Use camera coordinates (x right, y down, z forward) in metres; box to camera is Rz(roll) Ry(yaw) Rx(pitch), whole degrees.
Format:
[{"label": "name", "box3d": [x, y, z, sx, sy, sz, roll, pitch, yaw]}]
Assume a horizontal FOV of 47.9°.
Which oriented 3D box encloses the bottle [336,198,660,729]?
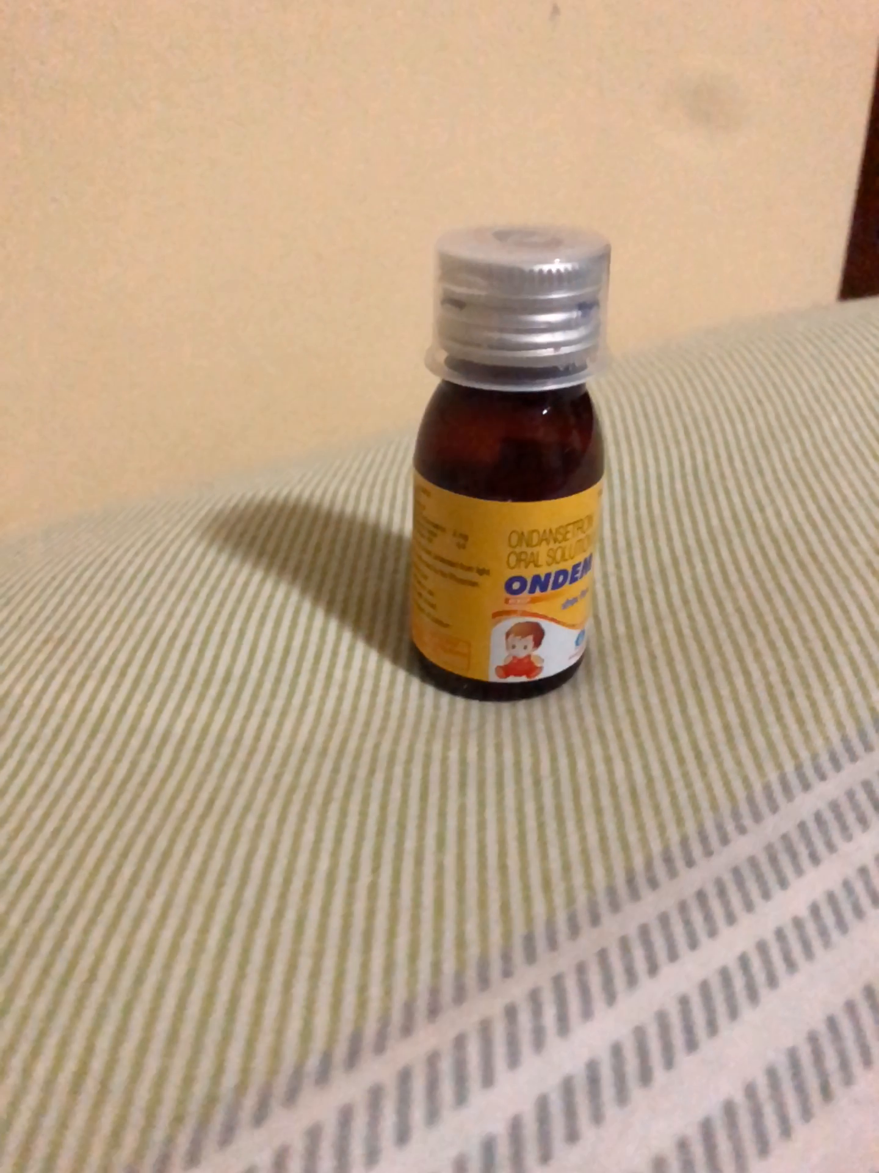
[{"label": "bottle", "box3d": [0.008, -0.021, 0.169, 0.037, 0.076, 0.038, -2, 31, 1]}]
